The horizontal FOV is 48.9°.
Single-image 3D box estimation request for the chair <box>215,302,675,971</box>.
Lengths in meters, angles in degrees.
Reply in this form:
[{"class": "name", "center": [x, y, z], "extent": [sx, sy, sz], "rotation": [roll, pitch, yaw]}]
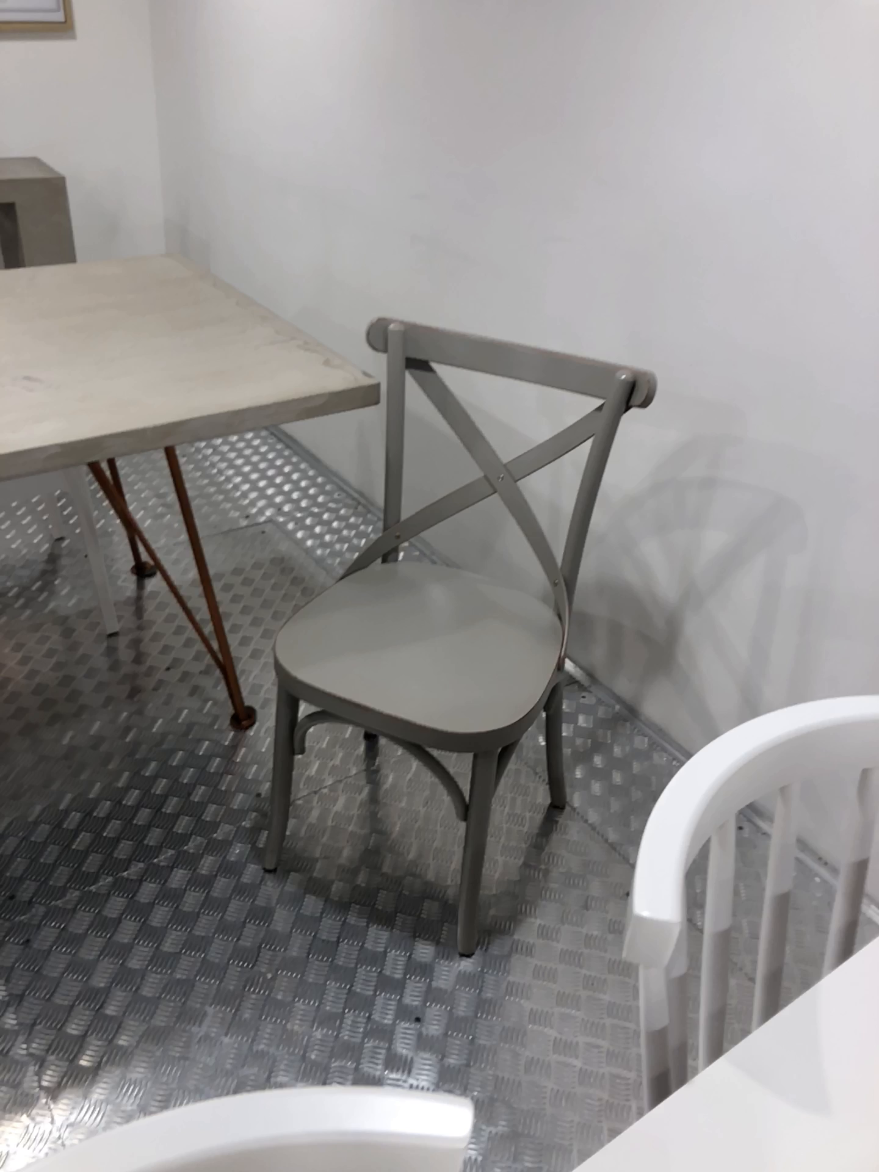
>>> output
[{"class": "chair", "center": [0.007, 0.072, 1.639], "extent": [0.511, 0.893, 0.504], "rotation": [16, 34, 18]}]
